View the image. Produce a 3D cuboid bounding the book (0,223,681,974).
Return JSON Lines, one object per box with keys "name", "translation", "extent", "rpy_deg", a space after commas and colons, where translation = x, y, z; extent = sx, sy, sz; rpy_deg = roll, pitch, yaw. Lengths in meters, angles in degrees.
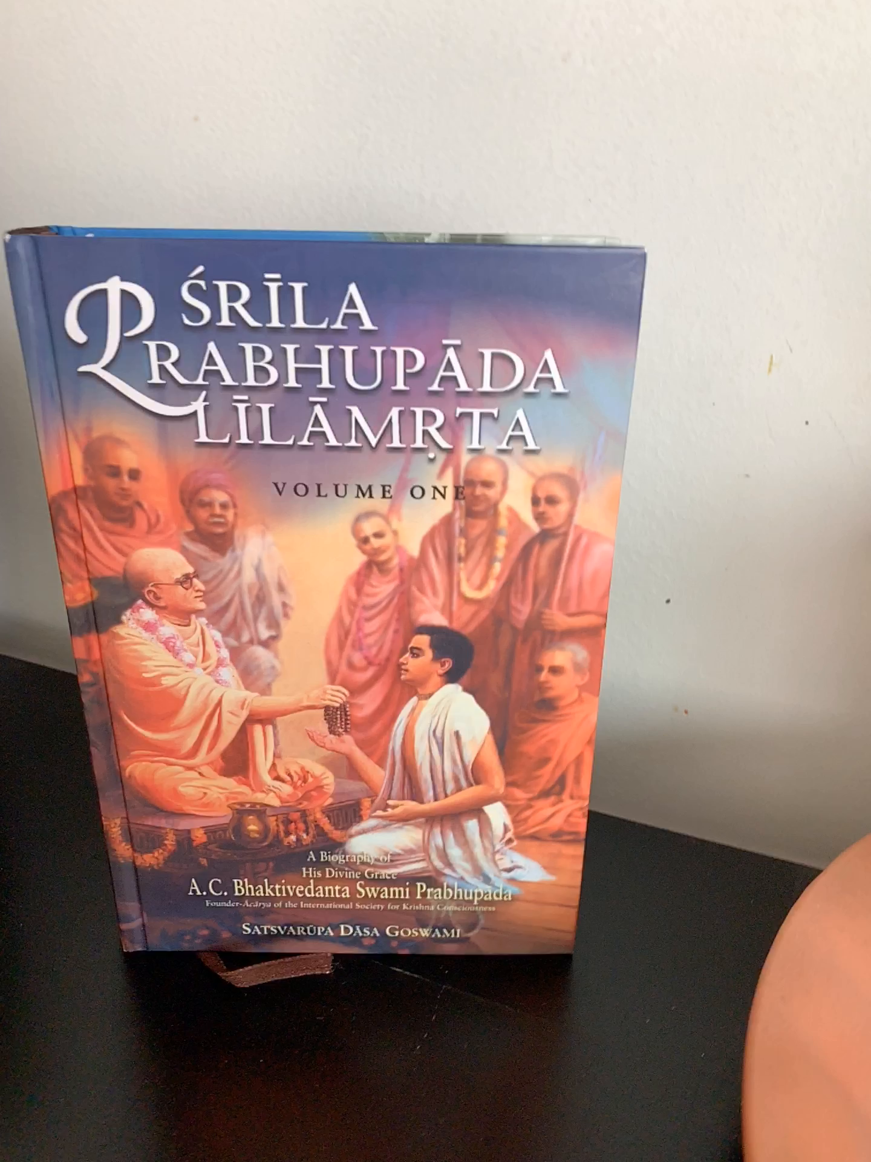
{"name": "book", "translation": [-0.025, 0.020, 0.275], "extent": [0.161, 0.233, 0.030], "rpy_deg": [1, 24, 0]}
